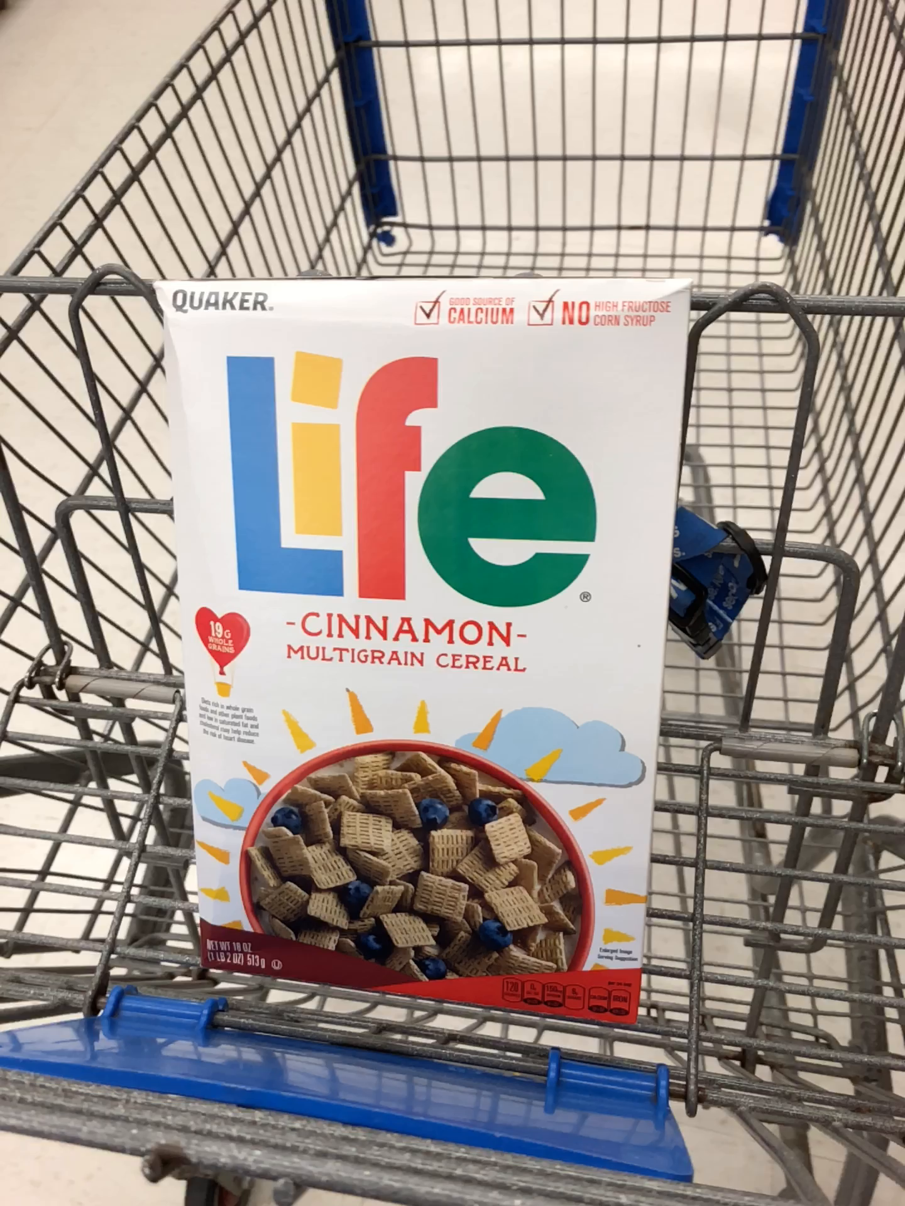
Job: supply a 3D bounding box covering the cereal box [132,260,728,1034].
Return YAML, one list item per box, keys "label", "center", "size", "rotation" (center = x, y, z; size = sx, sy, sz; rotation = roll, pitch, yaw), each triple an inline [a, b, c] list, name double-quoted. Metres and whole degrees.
- label: "cereal box"
  center: [-0.006, 0.015, 0.398]
  size: [0.200, 0.280, 0.070]
  rotation: [3, 16, 11]
